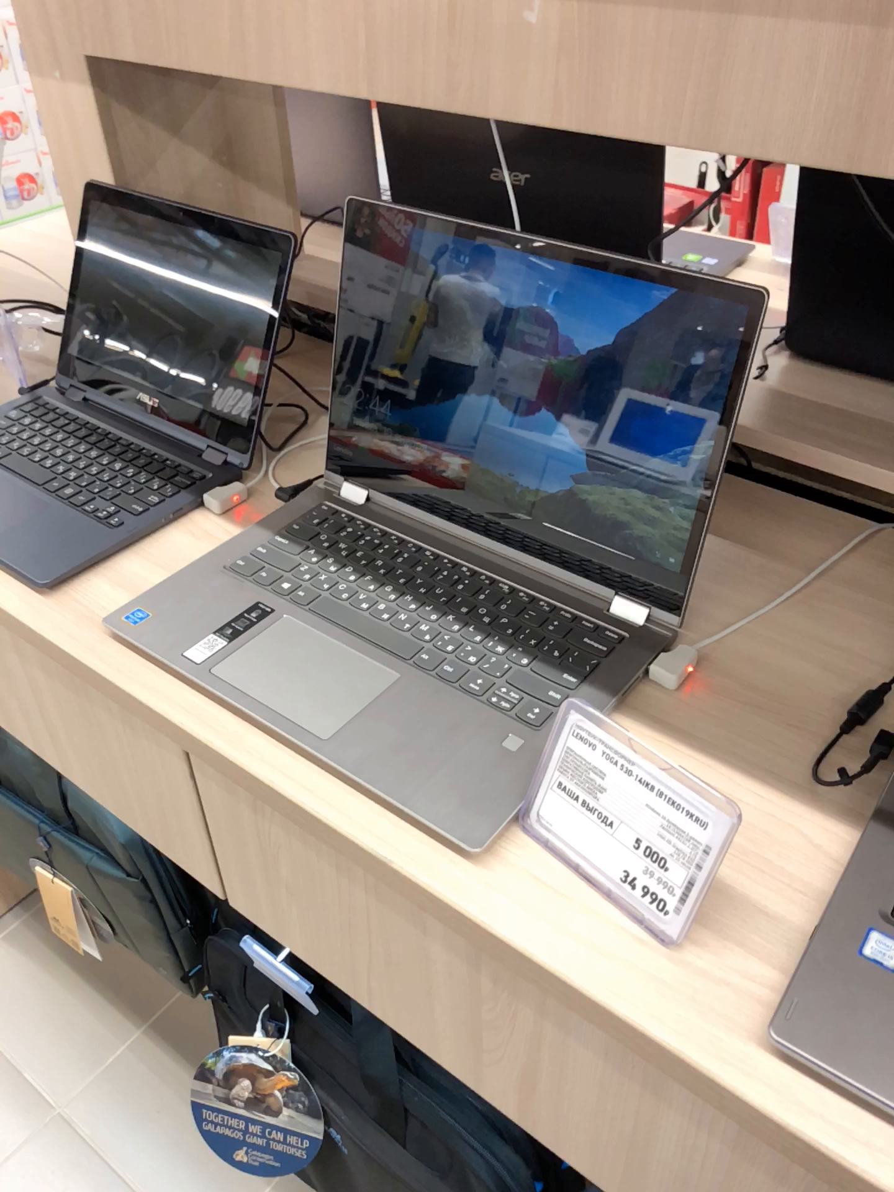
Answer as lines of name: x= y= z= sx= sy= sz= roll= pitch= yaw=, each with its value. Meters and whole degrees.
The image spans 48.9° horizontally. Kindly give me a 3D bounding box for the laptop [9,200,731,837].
laptop: x=-0.038 y=-0.084 z=0.630 sx=0.312 sy=0.205 sz=0.288 roll=24 pitch=44 yaw=29
